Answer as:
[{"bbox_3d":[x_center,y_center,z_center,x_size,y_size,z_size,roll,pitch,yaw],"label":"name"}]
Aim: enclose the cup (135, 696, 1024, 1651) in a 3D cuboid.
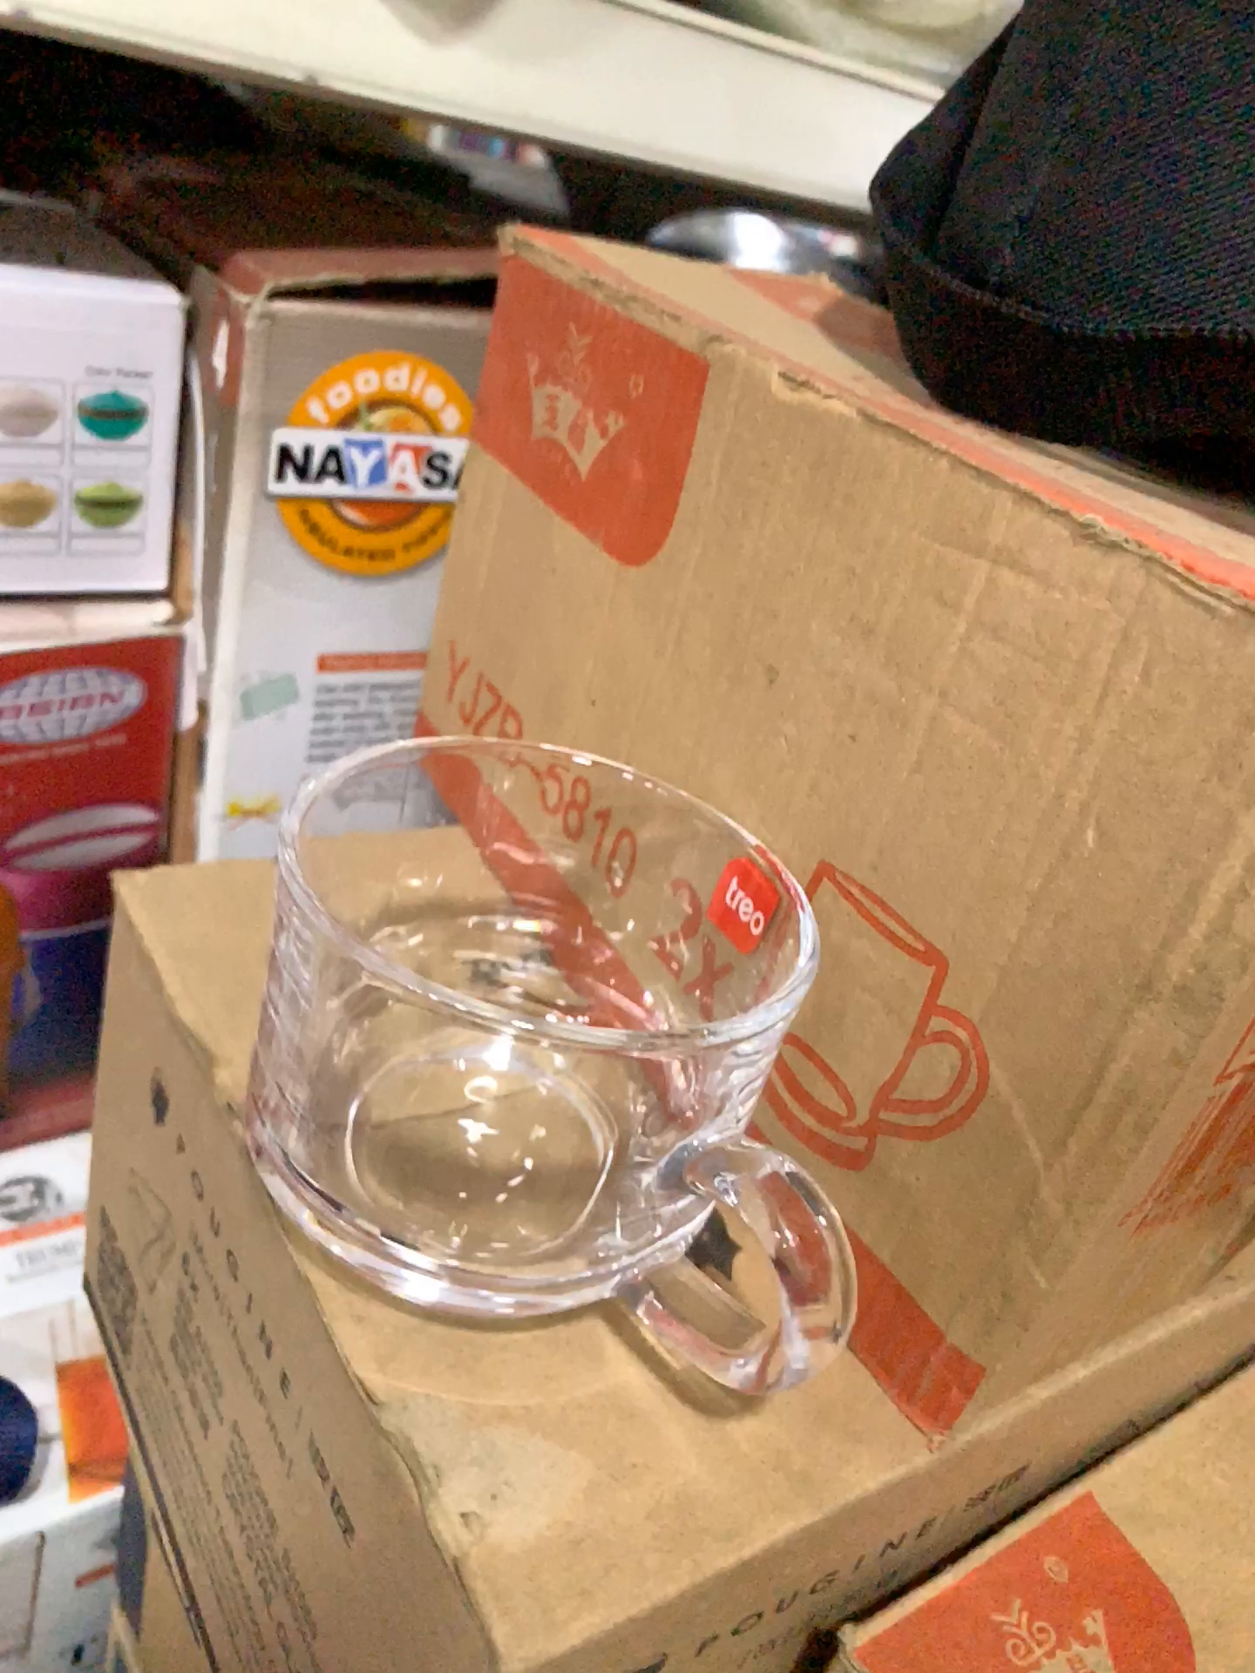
[{"bbox_3d":[-0.016,0.033,0.188,0.072,0.061,0.105,-7,36,-35],"label":"cup"}]
